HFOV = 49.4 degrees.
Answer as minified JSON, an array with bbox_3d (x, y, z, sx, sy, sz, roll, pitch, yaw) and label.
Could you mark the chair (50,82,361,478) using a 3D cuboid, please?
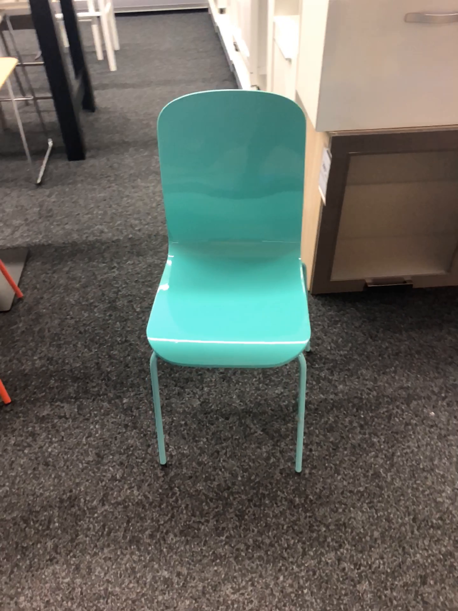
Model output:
[{"bbox_3d":[-0.017,-0.027,1.260,0.490,0.865,0.503,1,43,3],"label":"chair"}]
